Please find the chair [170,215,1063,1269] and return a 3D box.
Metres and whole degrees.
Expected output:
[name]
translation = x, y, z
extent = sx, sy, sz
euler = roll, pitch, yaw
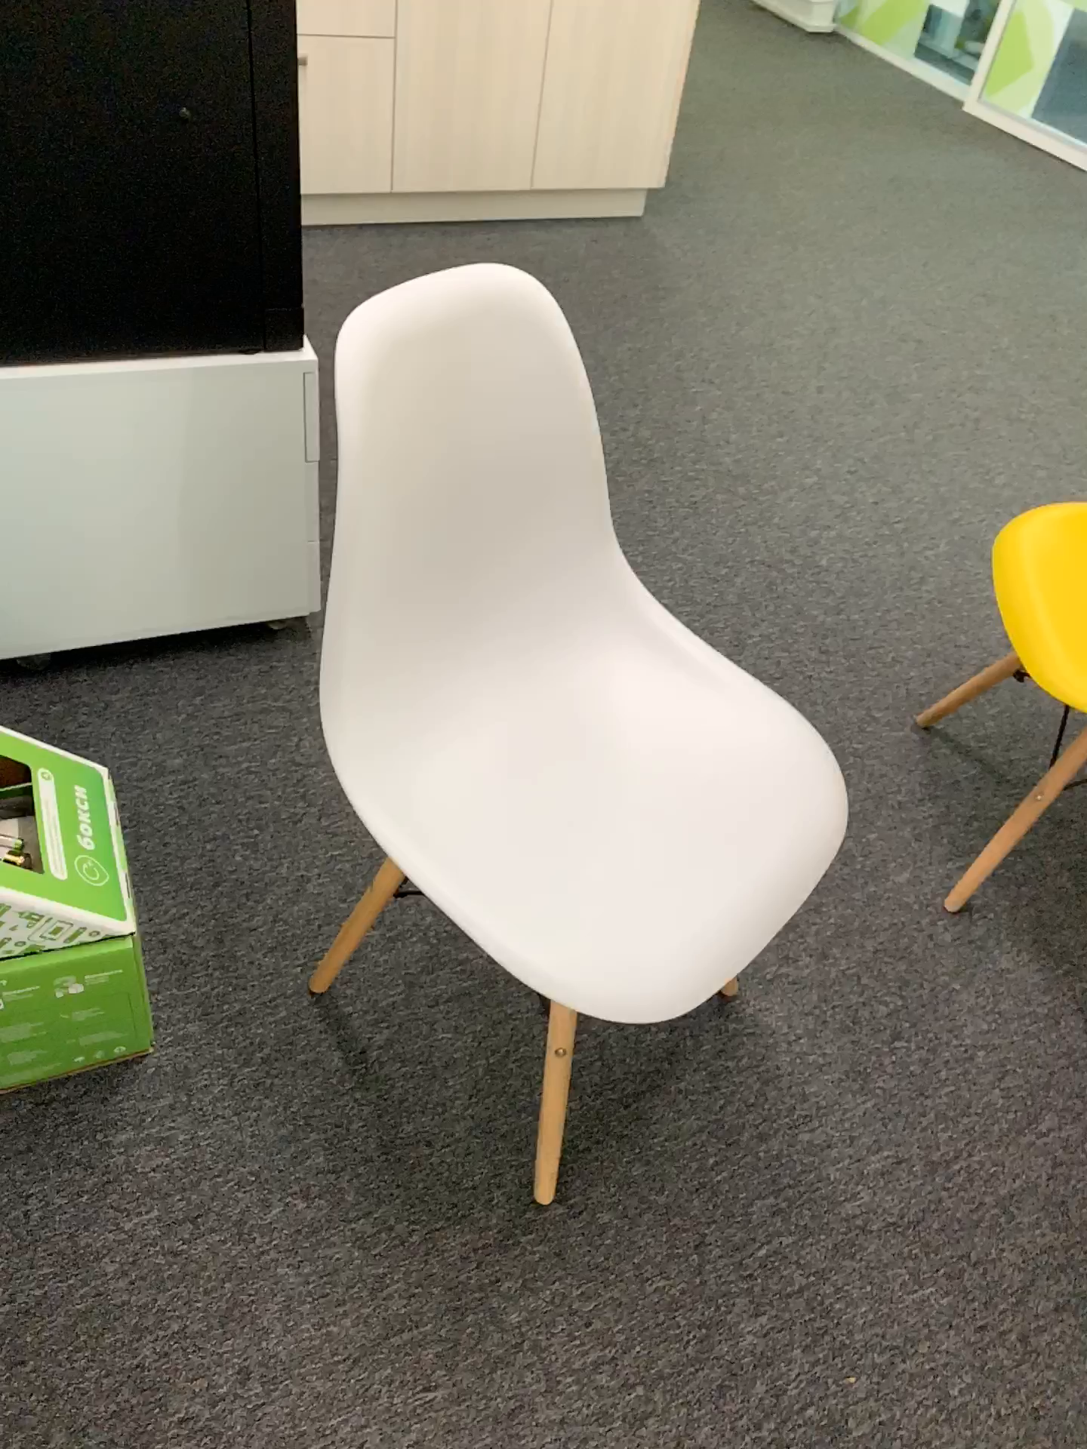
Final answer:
[chair]
translation = 0.017, 0.040, 1.117
extent = 0.500, 0.816, 0.462
euler = 36, 50, 24
